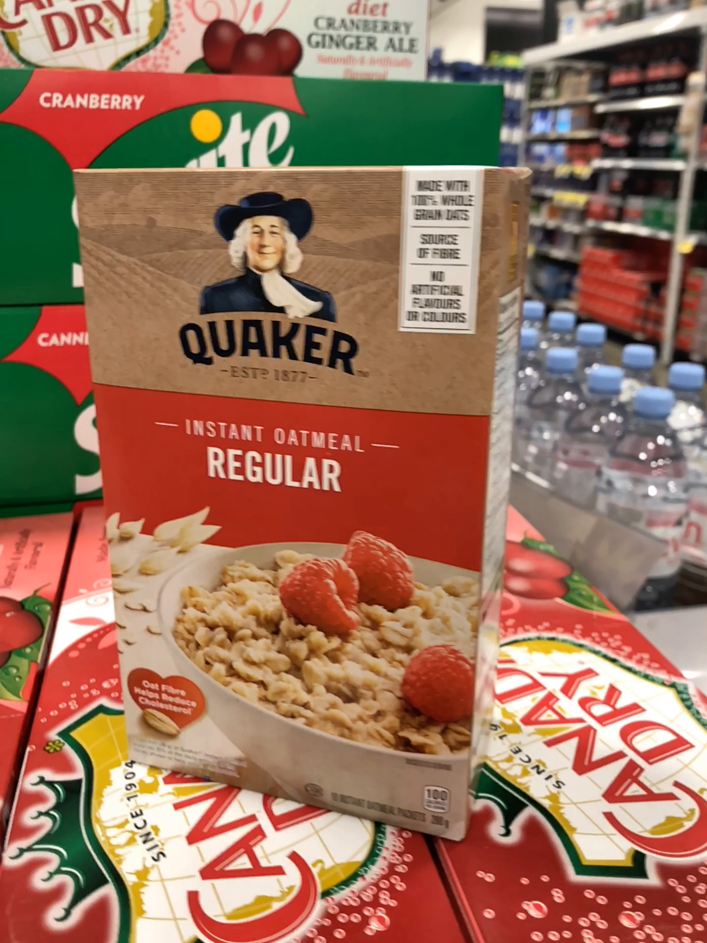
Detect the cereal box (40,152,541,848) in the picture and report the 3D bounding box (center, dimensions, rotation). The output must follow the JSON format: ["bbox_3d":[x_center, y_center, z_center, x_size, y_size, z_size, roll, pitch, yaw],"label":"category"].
[{"bbox_3d":[-0.015,0.004,0.263,0.130,0.199,0.070,6,19,15],"label":"cereal box"}]
